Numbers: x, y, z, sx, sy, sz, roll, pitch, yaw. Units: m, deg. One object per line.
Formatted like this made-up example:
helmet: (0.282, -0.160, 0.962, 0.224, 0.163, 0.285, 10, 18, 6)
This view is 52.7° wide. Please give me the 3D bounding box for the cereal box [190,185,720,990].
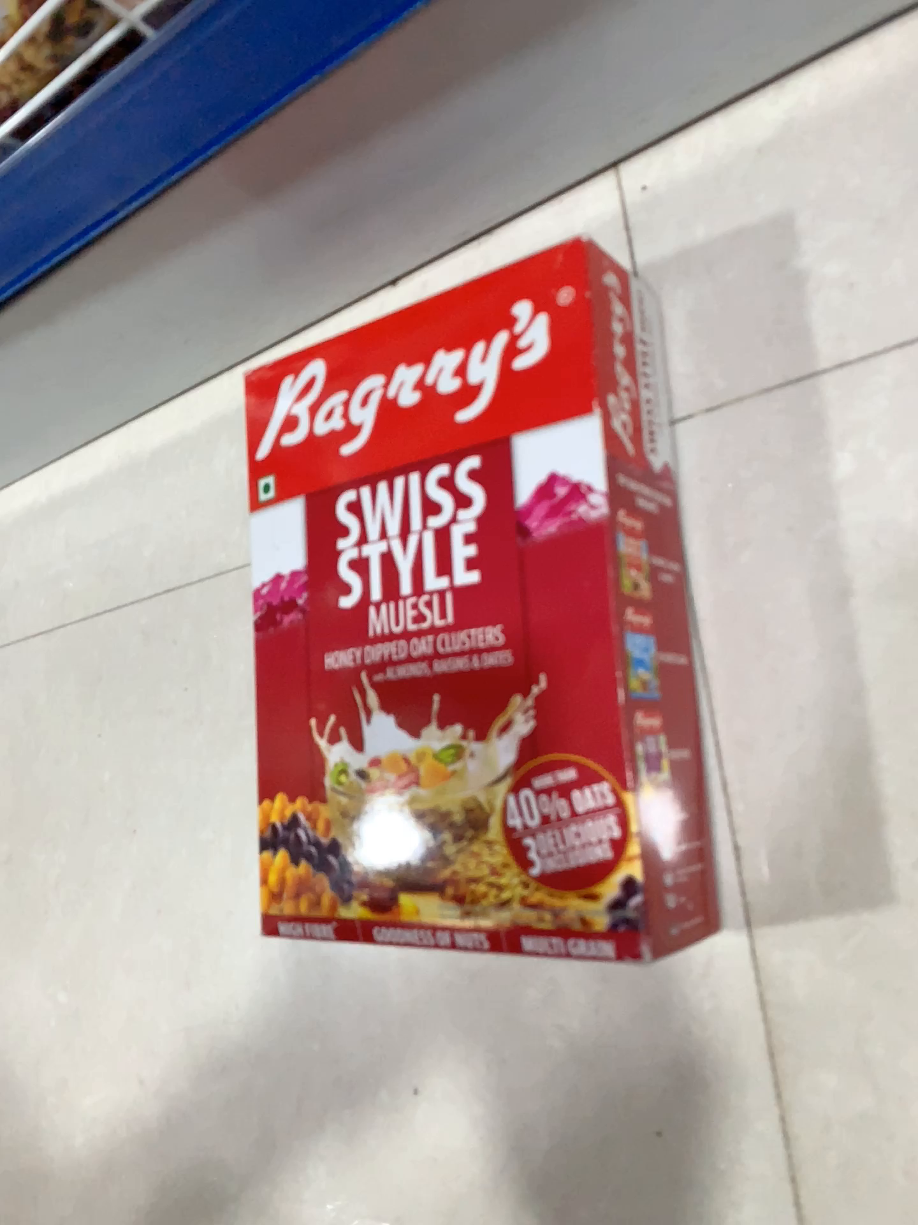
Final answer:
cereal box: (-0.013, 0.000, 0.380, 0.191, 0.080, 0.260, -9, 79, 34)
